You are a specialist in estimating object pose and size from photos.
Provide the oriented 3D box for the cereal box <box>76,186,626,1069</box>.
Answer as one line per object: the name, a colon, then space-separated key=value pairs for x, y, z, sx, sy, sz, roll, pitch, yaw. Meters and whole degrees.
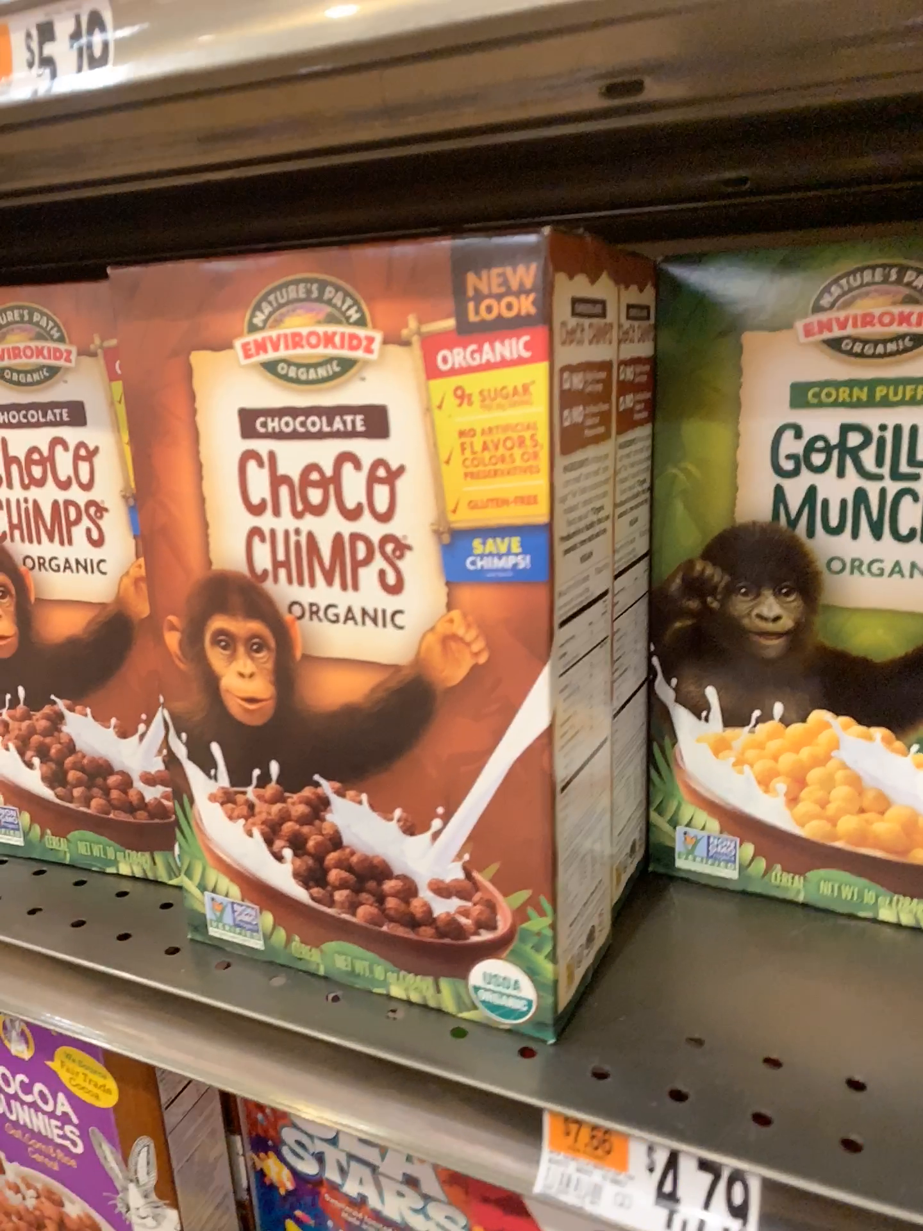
cereal box: x=-0.034 y=0.005 z=0.338 sx=0.170 sy=0.269 sz=0.060 roll=5 pitch=16 yaw=24
